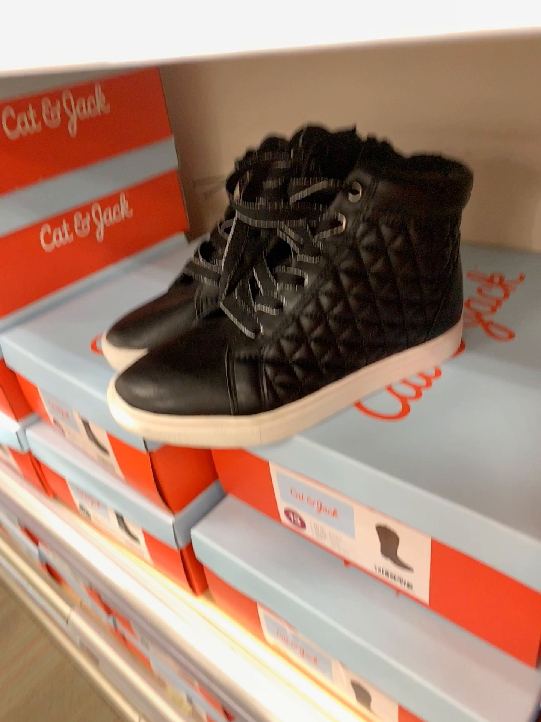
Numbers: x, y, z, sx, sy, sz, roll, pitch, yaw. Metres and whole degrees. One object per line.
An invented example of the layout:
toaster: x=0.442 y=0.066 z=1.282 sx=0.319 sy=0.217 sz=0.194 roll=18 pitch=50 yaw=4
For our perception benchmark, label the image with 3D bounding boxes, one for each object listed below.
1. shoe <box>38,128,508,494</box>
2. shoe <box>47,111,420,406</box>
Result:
shoe: x=0.008 y=-0.043 z=0.324 sx=0.230 sy=0.109 sz=0.101 roll=-23 pitch=35 yaw=-17
shoe: x=-0.018 y=-0.085 z=0.403 sx=0.230 sy=0.119 sz=0.101 roll=-23 pitch=35 yaw=-17
